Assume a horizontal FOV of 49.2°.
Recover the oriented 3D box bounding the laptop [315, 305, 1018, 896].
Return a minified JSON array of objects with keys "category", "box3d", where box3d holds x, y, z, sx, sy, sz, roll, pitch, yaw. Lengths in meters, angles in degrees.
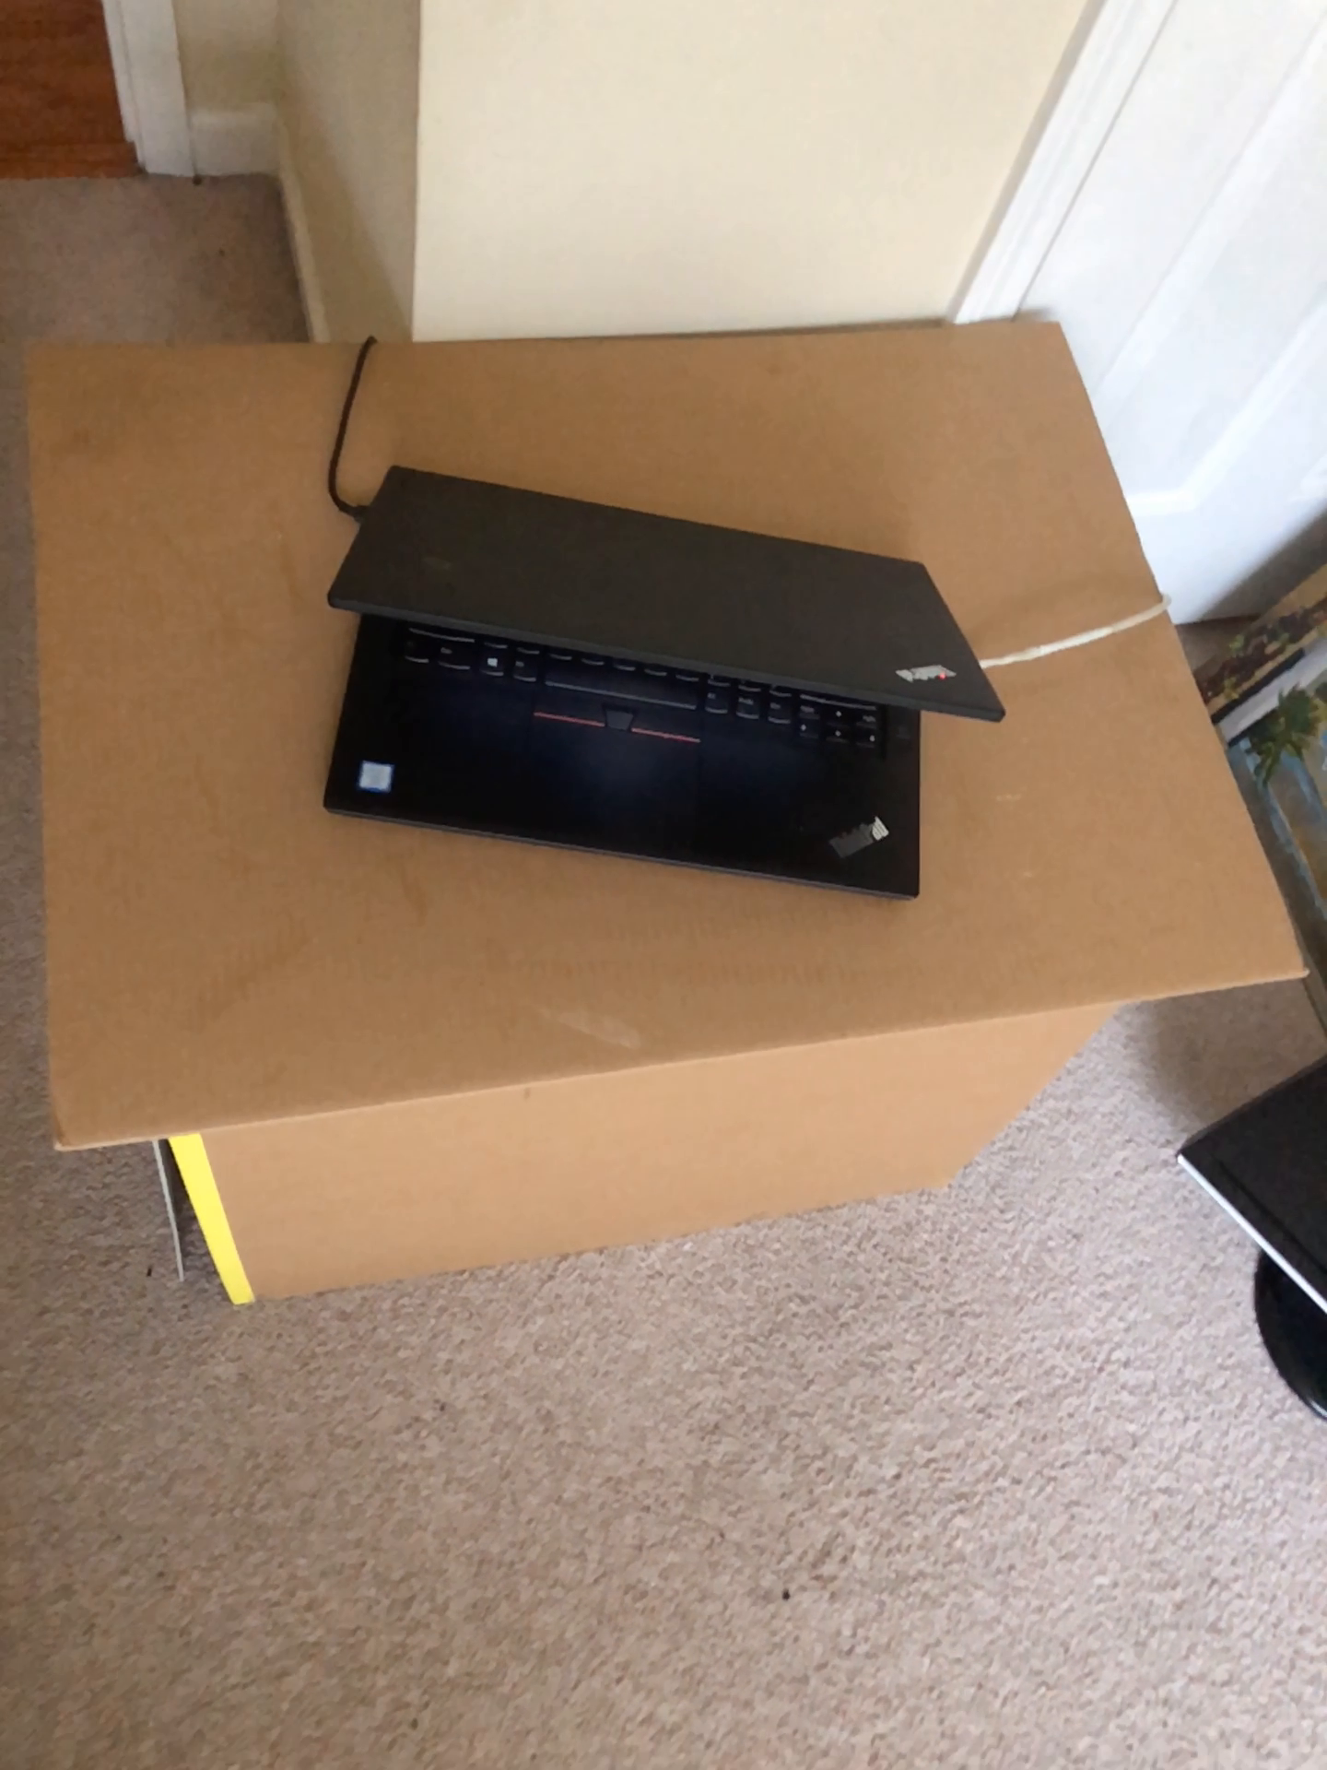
[{"category":"laptop","box3d":[0.005,-0.149,0.793,0.334,0.140,0.232,9,63,-7]}]
